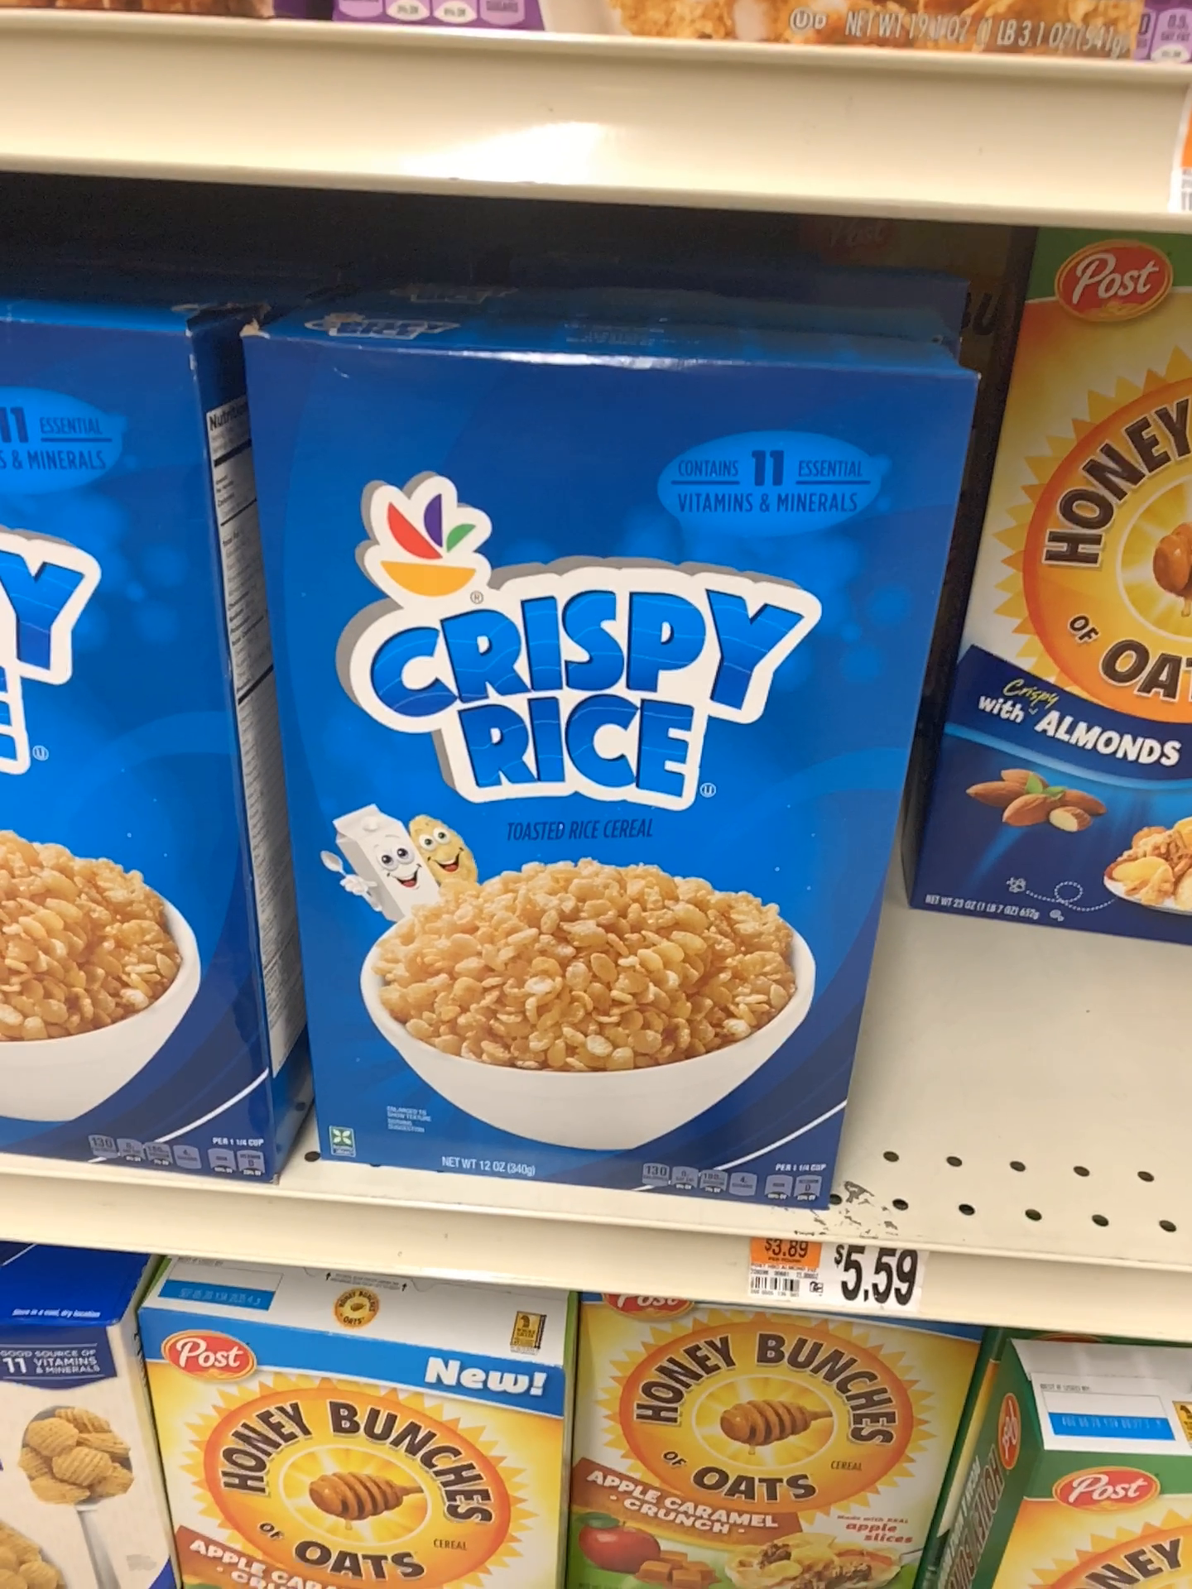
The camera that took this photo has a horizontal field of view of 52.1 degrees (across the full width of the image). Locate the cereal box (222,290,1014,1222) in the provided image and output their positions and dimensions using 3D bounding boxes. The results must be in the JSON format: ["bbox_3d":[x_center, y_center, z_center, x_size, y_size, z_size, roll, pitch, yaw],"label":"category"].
[{"bbox_3d":[0.000,0.003,0.432,0.210,0.318,0.070,4,30,3],"label":"cereal box"}]
